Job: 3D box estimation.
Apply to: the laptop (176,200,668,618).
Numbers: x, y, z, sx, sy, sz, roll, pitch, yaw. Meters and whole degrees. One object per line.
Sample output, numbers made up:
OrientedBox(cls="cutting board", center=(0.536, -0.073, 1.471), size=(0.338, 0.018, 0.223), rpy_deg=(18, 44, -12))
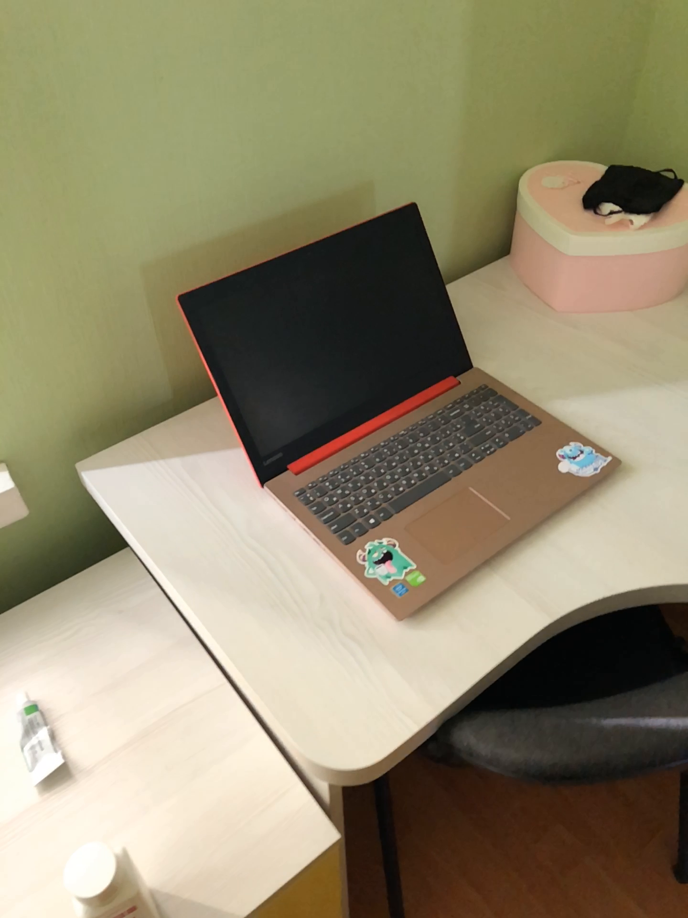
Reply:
OrientedBox(cls="laptop", center=(0.080, -0.096, 0.918), size=(0.375, 0.198, 0.402), rpy_deg=(-29, 51, -27))
